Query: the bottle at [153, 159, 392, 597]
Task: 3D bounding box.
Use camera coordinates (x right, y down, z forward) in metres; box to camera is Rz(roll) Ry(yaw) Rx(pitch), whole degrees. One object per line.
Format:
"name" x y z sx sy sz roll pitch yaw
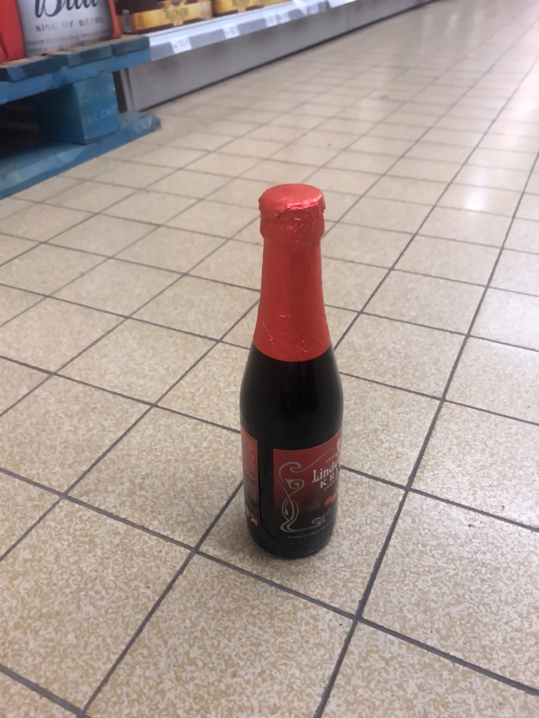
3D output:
"bottle" 0.006 0.016 0.294 0.070 0.199 0.070 -1 35 1
